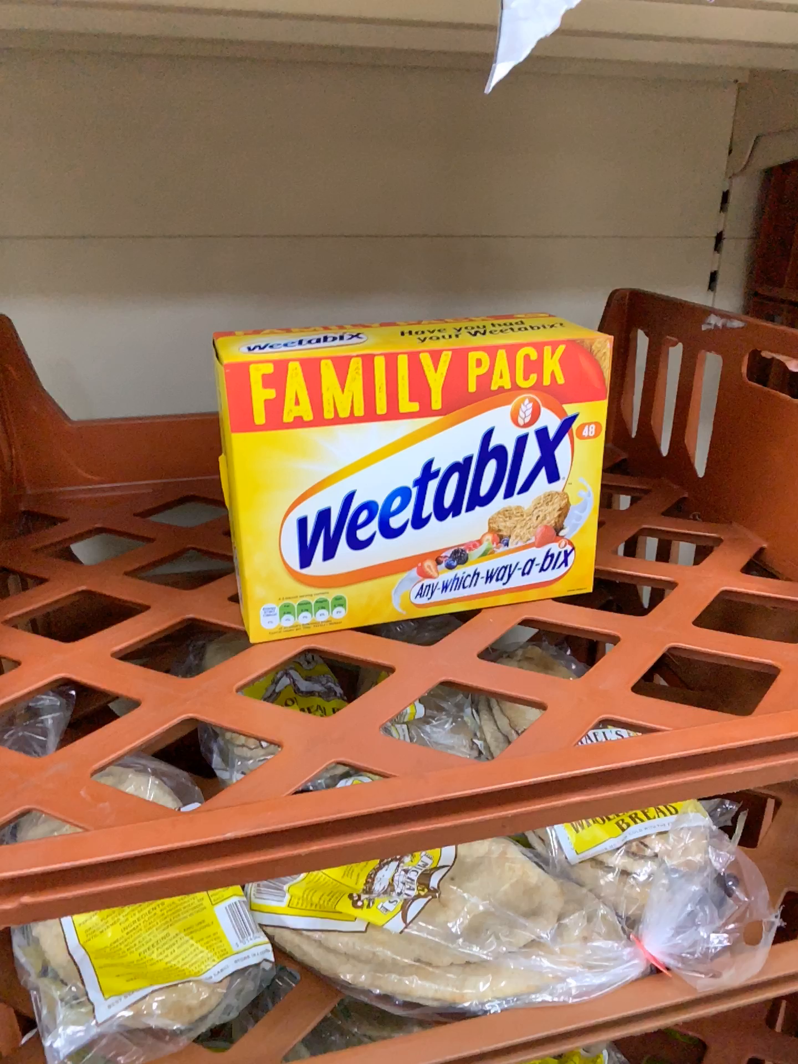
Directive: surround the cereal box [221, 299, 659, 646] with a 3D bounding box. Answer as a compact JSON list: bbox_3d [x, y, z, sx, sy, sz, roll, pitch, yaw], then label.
[{"bbox_3d":[0.023,-0.049,0.557,0.260,0.188,0.101,-7,24,-16],"label":"cereal box"}]
